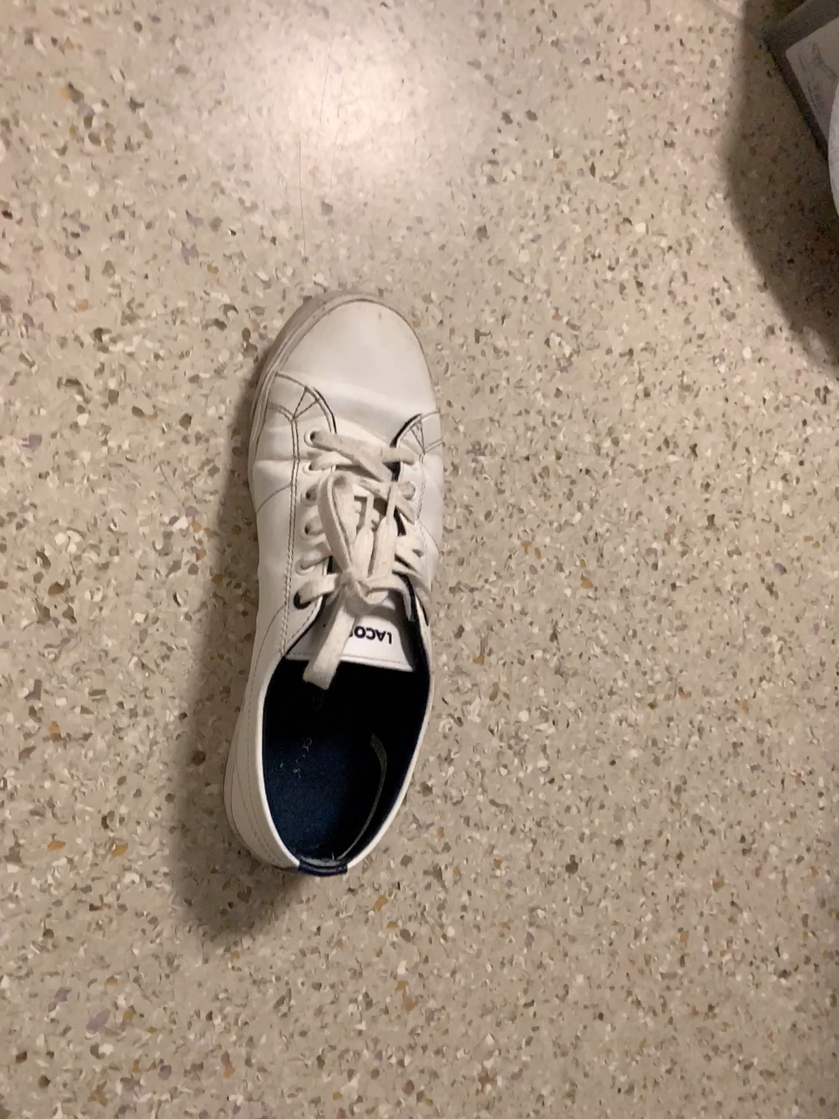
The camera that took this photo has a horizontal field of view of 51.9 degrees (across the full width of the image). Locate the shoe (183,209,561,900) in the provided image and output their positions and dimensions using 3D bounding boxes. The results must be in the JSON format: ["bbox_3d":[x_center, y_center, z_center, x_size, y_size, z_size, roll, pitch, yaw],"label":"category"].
[{"bbox_3d":[-0.023,0.003,0.369,0.100,0.090,0.250,10,85,-24],"label":"shoe"}]
